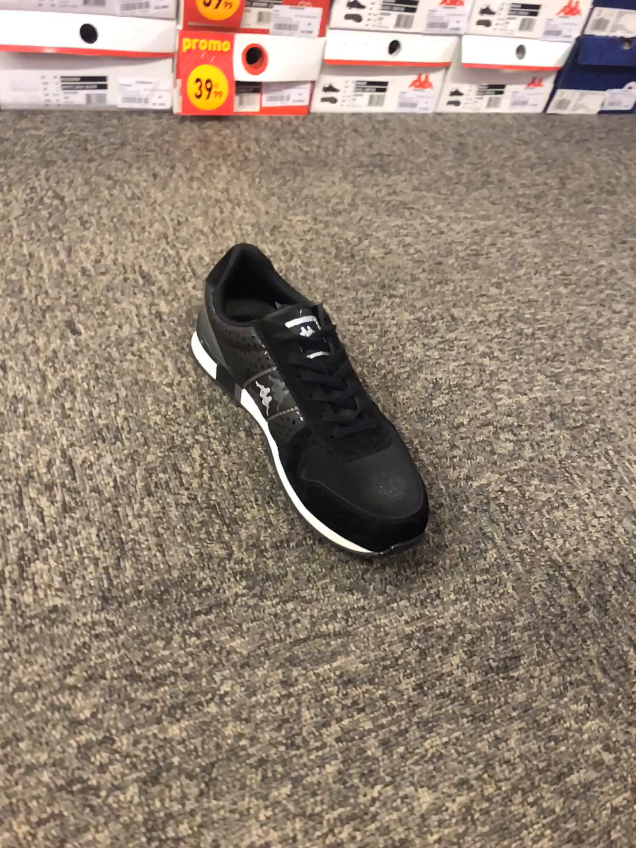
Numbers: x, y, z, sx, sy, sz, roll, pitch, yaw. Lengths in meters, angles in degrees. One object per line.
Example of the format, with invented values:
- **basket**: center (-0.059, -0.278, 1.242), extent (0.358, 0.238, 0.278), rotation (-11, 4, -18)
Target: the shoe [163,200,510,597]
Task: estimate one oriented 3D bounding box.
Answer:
- **shoe**: center (-0.005, -0.033, 0.496), extent (0.100, 0.089, 0.274), rotation (-18, 59, -29)
